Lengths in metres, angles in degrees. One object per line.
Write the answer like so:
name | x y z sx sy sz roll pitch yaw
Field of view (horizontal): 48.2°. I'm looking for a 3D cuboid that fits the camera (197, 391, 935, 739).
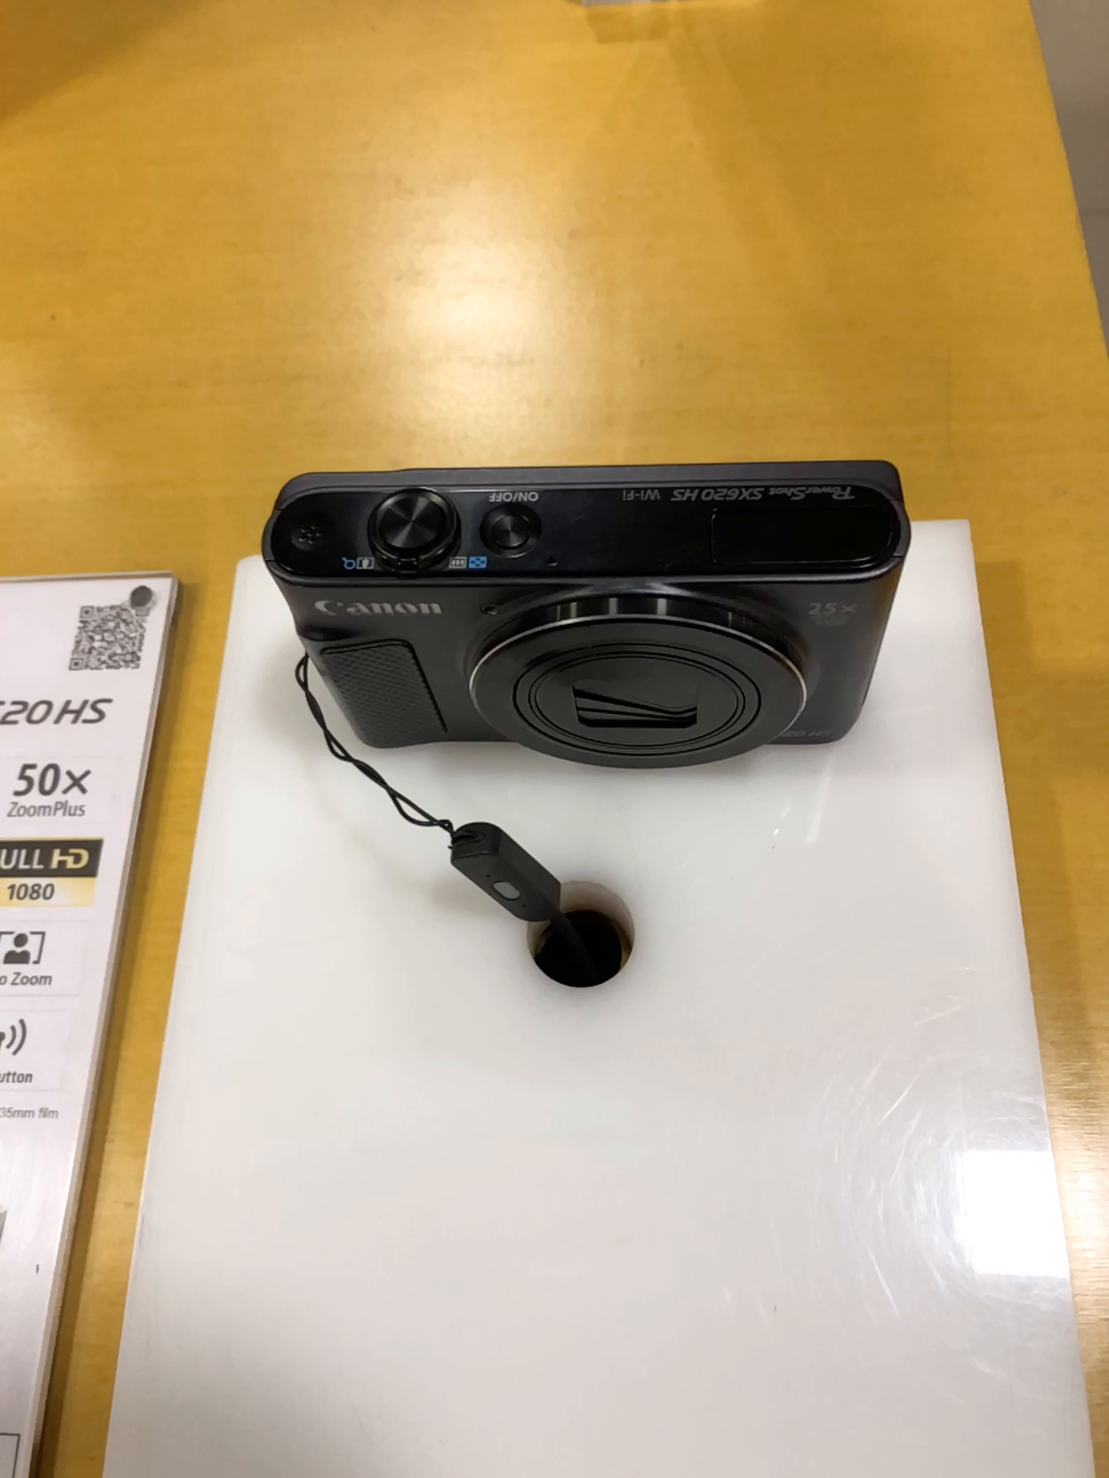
camera | 0.003 -0.027 0.218 0.110 0.060 0.030 -1 66 5
